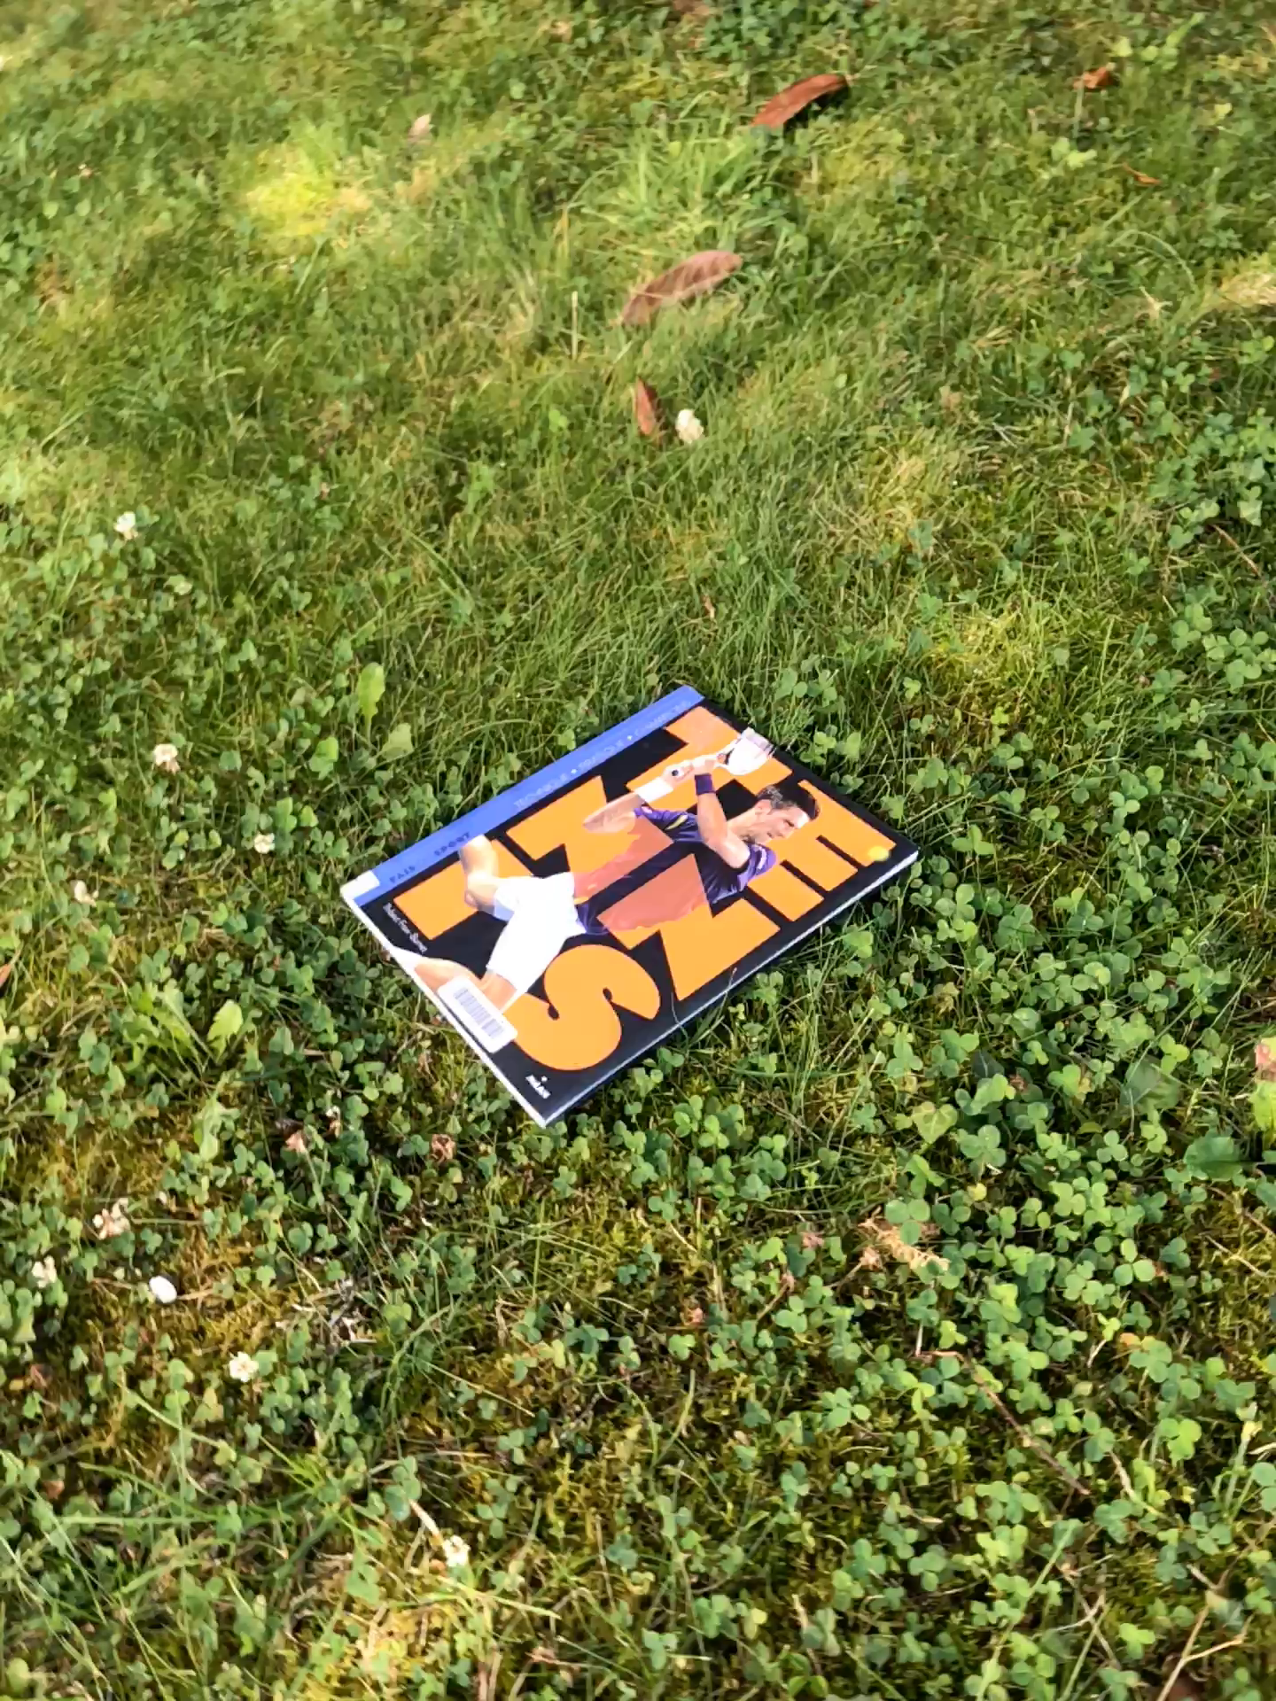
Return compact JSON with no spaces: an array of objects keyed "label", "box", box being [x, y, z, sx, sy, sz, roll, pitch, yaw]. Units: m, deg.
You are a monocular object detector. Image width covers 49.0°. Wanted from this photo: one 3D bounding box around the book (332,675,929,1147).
[{"label":"book","box":[-0.006,0.015,0.730,0.241,0.016,0.198,-32,51,-21]}]
